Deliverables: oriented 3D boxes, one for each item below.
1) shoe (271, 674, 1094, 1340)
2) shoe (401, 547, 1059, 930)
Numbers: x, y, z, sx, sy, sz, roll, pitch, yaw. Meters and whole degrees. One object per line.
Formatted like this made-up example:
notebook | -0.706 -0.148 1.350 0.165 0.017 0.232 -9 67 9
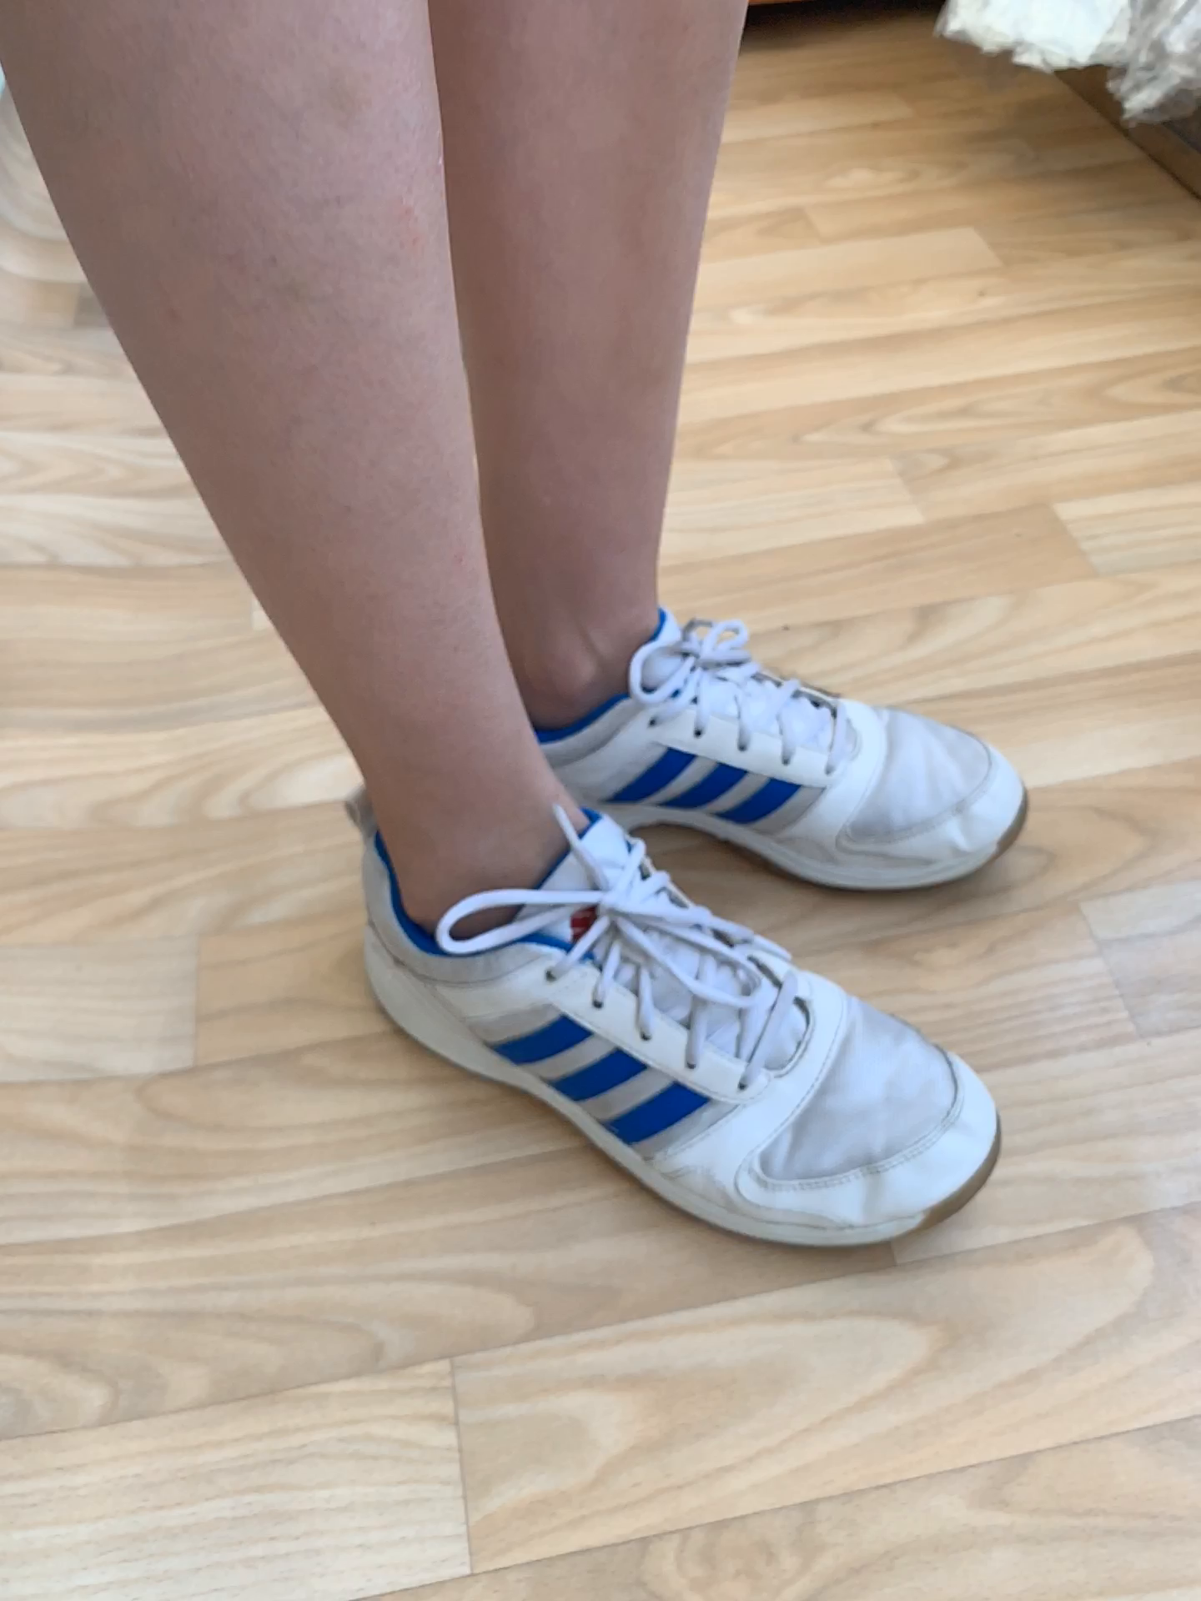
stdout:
shoe | 0.024 0.068 0.464 0.261 0.119 0.100 23 55 23
shoe | 0.058 -0.032 0.557 0.260 0.090 0.100 9 50 13
